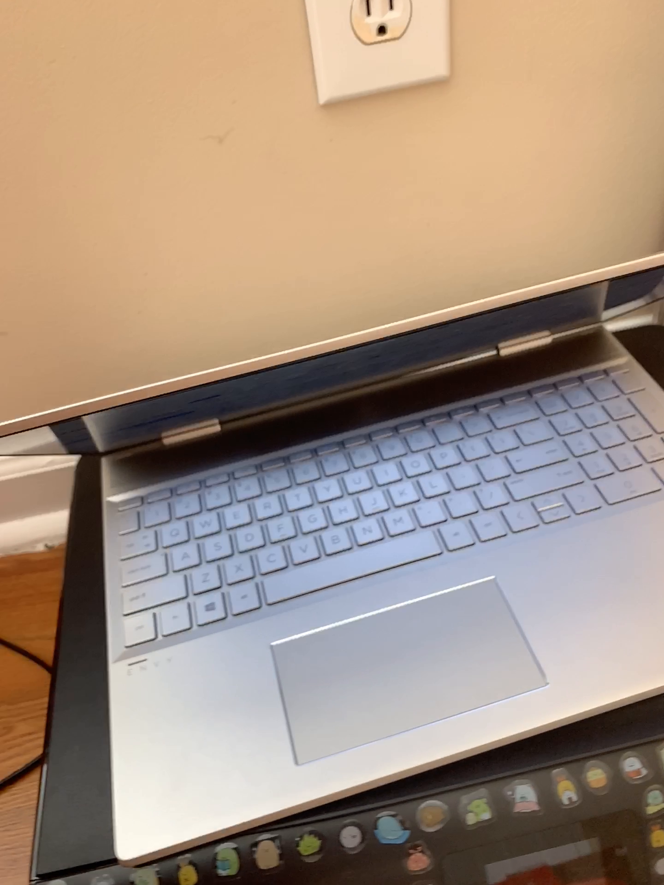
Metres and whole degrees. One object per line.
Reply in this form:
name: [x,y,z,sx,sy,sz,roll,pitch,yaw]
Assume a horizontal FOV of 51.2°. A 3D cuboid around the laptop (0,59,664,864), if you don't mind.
laptop: [0.039,-0.014,0.319,0.350,0.169,0.238,-15,46,-6]
